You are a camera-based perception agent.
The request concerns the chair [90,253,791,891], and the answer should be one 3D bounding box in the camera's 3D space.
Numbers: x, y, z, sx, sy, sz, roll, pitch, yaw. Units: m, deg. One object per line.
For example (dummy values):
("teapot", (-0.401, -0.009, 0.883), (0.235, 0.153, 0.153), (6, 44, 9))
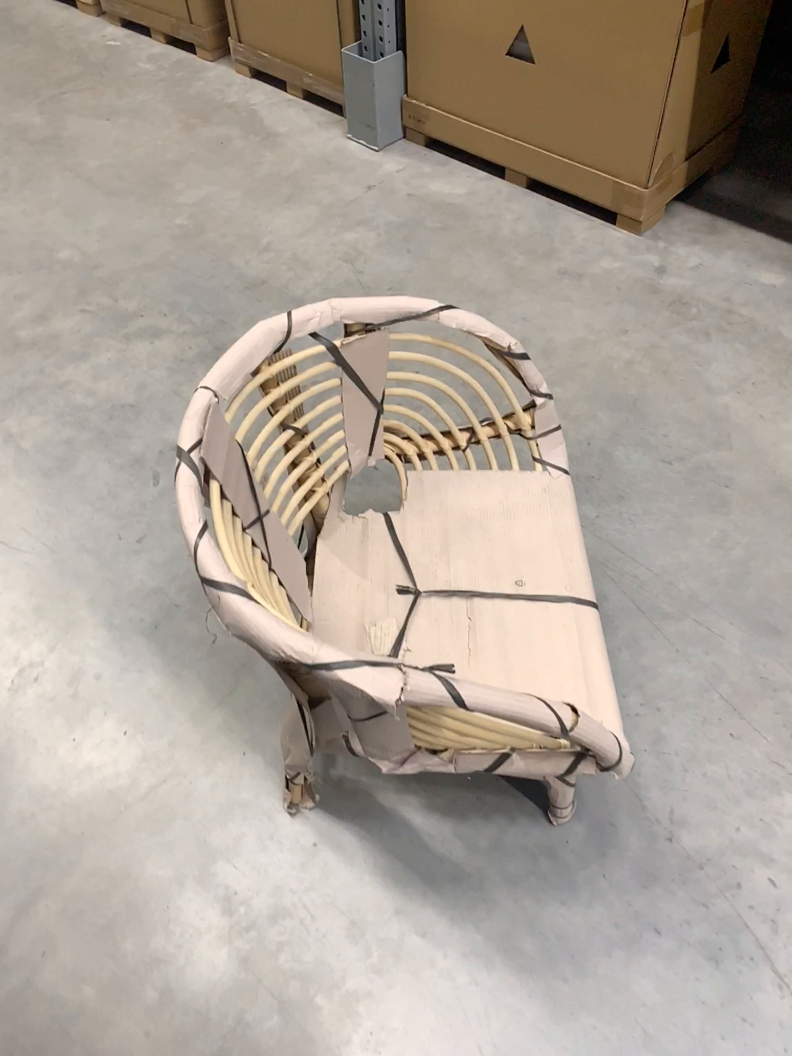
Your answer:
("chair", (0.097, 0.068, 1.212), (0.760, 0.568, 0.752), (-2, 52, 2))
